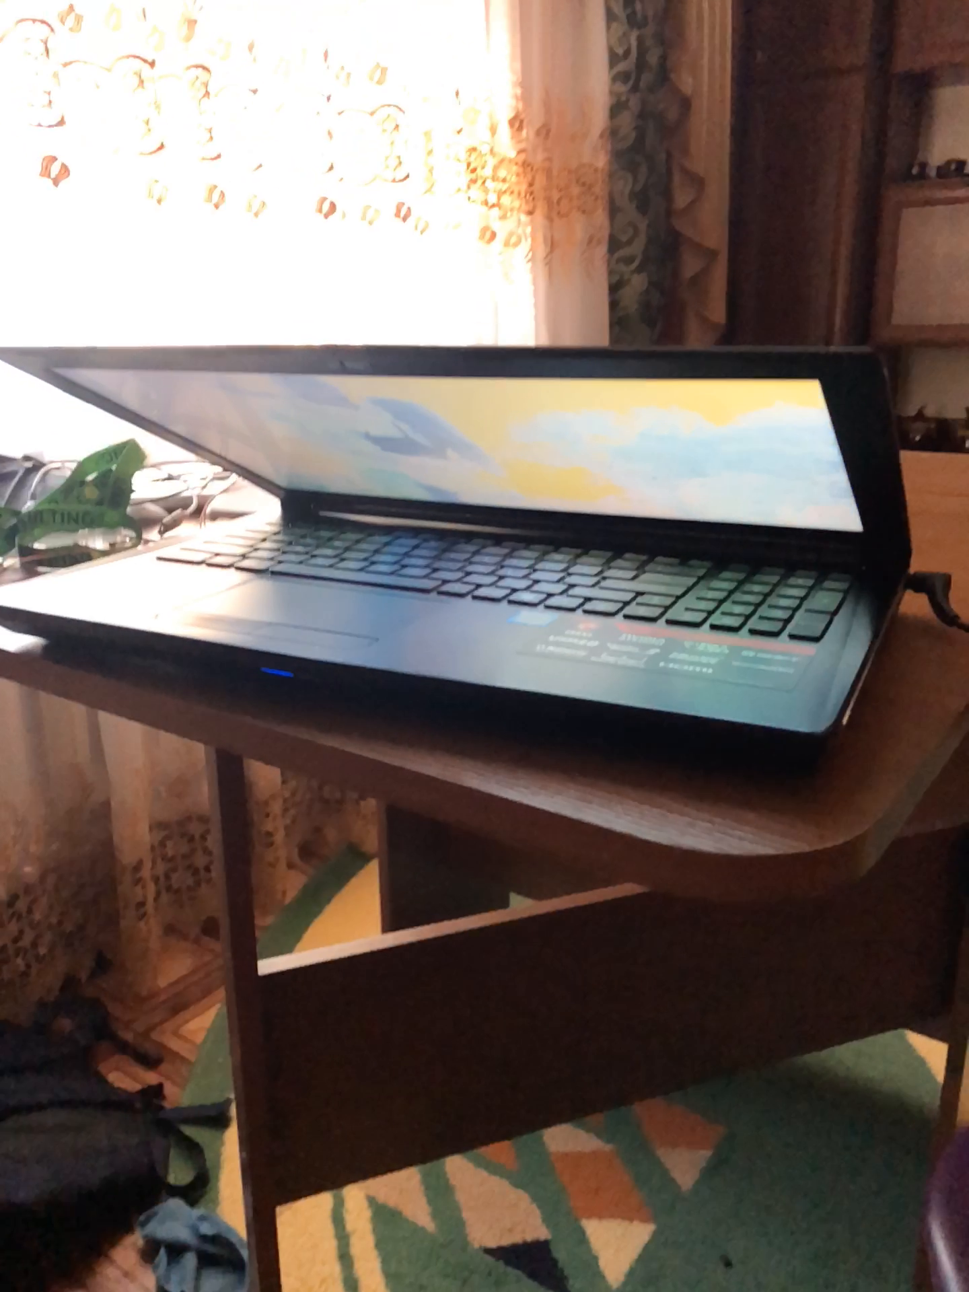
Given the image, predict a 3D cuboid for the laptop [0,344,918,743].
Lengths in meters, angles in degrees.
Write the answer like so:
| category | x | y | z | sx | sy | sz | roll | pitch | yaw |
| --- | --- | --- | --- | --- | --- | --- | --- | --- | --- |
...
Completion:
| category | x | y | z | sx | sy | sz | roll | pitch | yaw |
| --- | --- | --- | --- | --- | --- | --- | --- | --- | --- |
| laptop | -0.017 | -0.077 | 0.476 | 0.372 | 0.095 | 0.239 | 7 | 20 | 27 |
